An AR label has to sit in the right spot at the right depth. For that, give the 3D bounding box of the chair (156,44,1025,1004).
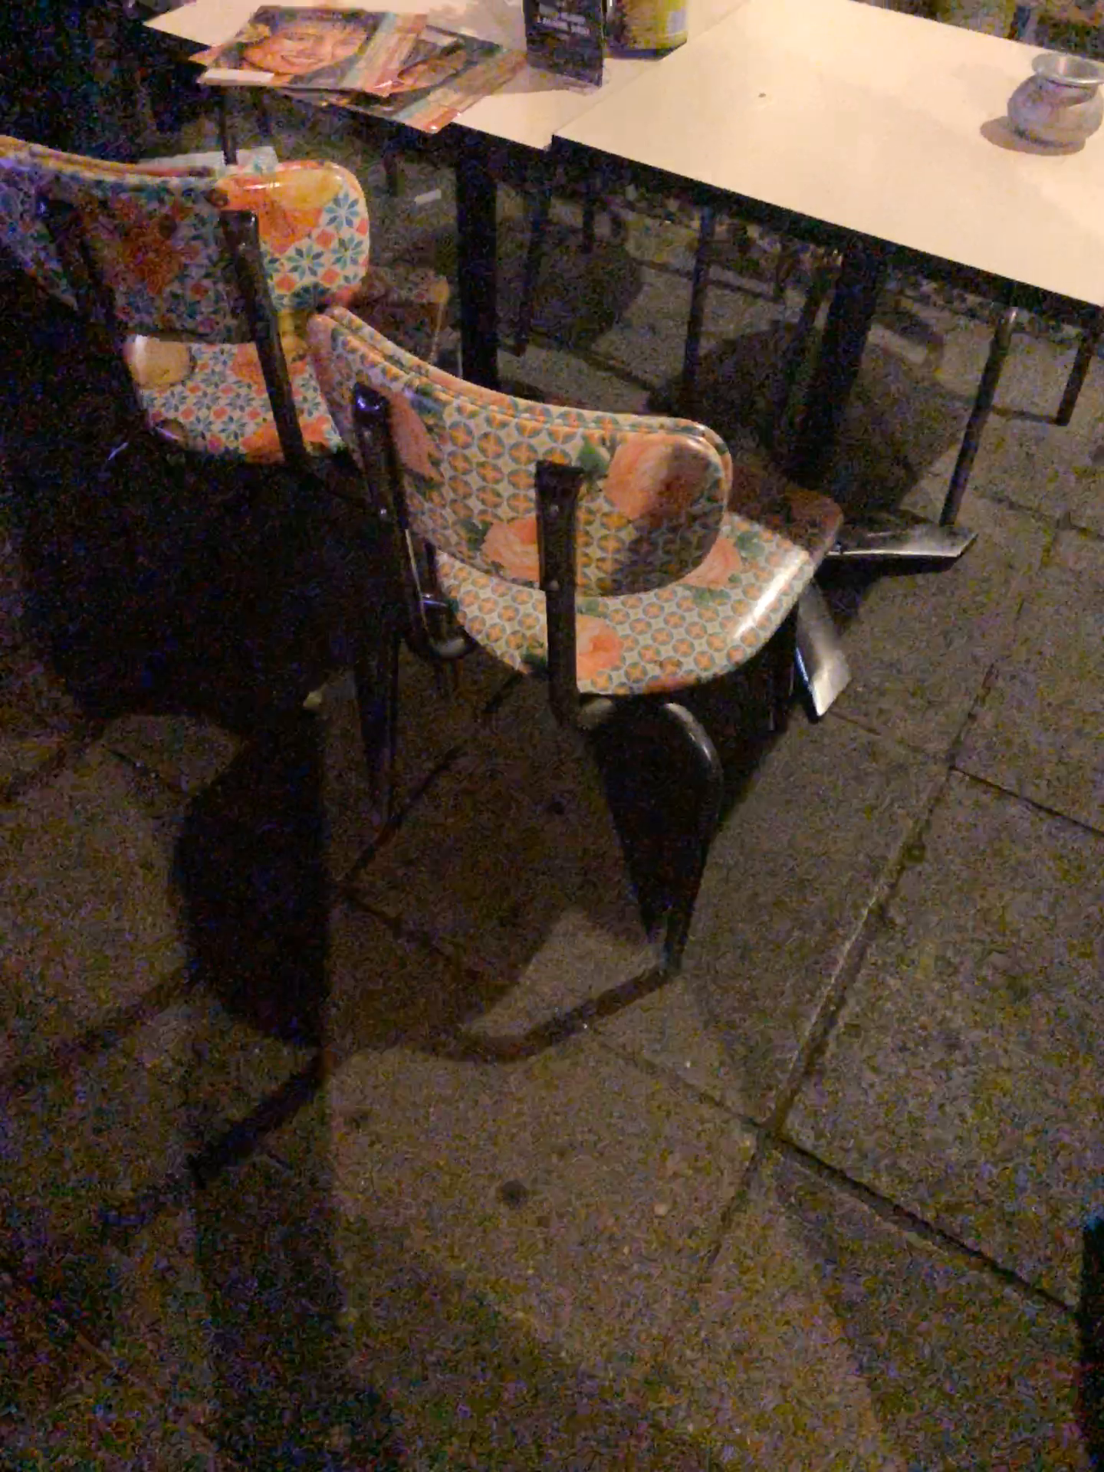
[{"bbox_3d":[0.058,-0.212,1.213,0.521,0.694,0.574,24,56,17],"label":"chair"}]
